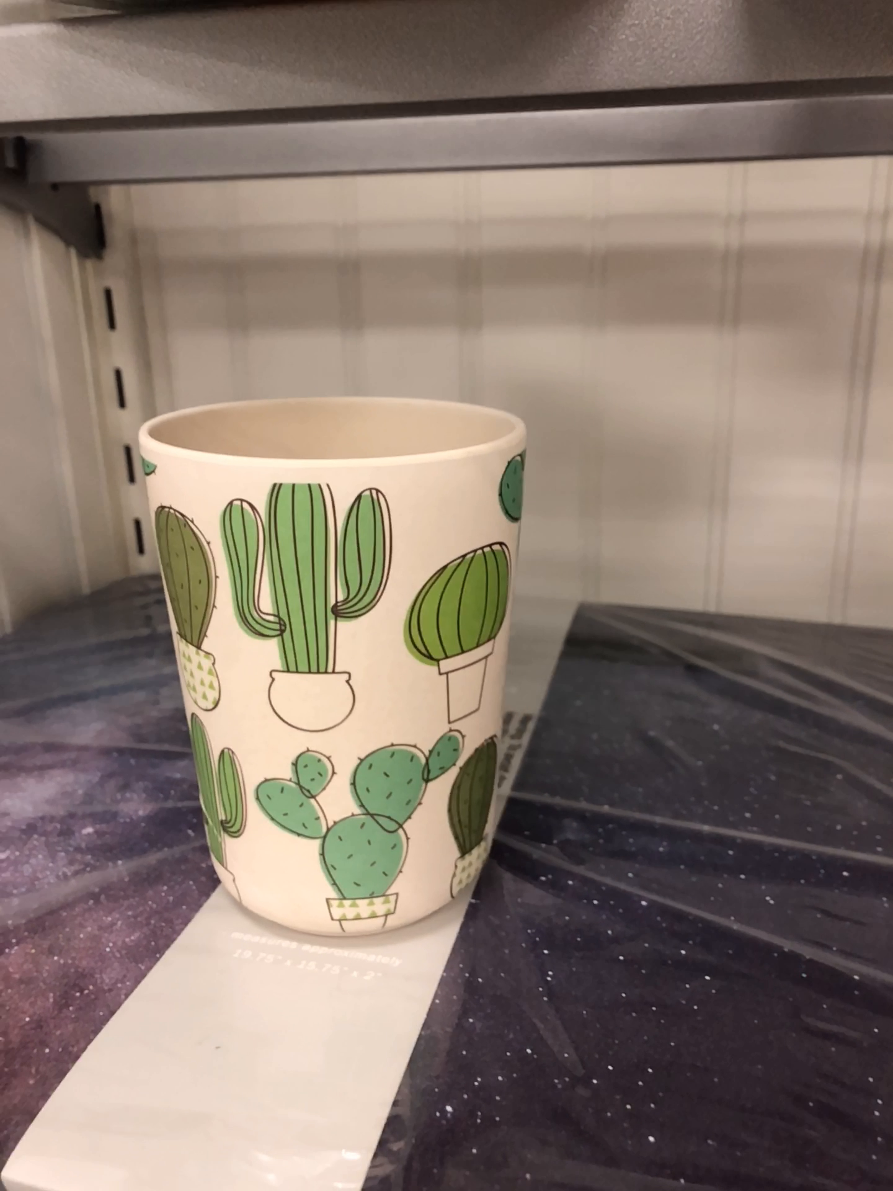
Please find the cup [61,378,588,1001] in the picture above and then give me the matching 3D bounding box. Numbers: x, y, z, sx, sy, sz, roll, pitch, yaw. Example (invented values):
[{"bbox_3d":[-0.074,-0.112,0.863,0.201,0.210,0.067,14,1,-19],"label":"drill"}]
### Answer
[{"bbox_3d":[-0.026,0.013,0.275,0.100,0.129,0.090,9,22,28],"label":"cup"}]
